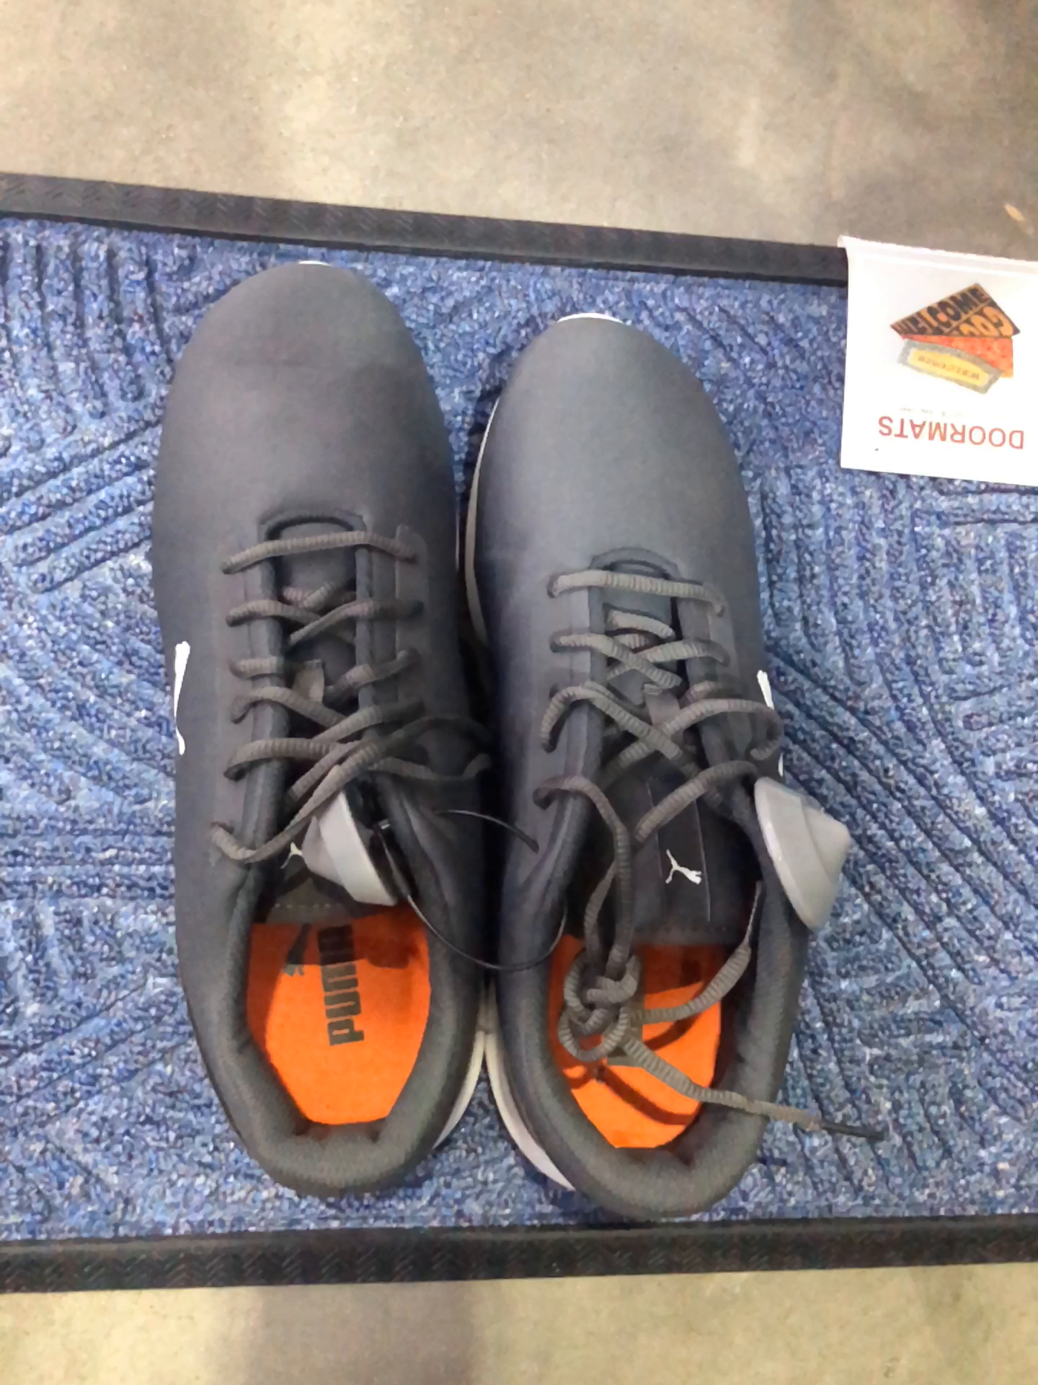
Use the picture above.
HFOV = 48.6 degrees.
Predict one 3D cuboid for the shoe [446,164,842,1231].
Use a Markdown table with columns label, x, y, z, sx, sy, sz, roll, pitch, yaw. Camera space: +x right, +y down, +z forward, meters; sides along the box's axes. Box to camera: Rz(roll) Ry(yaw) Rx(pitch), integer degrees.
| label | x | y | z | sx | sy | sz | roll | pitch | yaw |
| --- | --- | --- | --- | --- | --- | --- | --- | --- | --- |
| shoe | 0.031 | -0.001 | 0.378 | 0.100 | 0.100 | 0.300 | 0 | 84 | -7 |

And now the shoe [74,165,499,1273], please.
| label | x | y | z | sx | sy | sz | roll | pitch | yaw |
| --- | --- | --- | --- | --- | --- | --- | --- | --- | --- |
| shoe | -0.072 | 0.004 | 0.367 | 0.110 | 0.100 | 0.300 | -1 | 84 | -8 |
